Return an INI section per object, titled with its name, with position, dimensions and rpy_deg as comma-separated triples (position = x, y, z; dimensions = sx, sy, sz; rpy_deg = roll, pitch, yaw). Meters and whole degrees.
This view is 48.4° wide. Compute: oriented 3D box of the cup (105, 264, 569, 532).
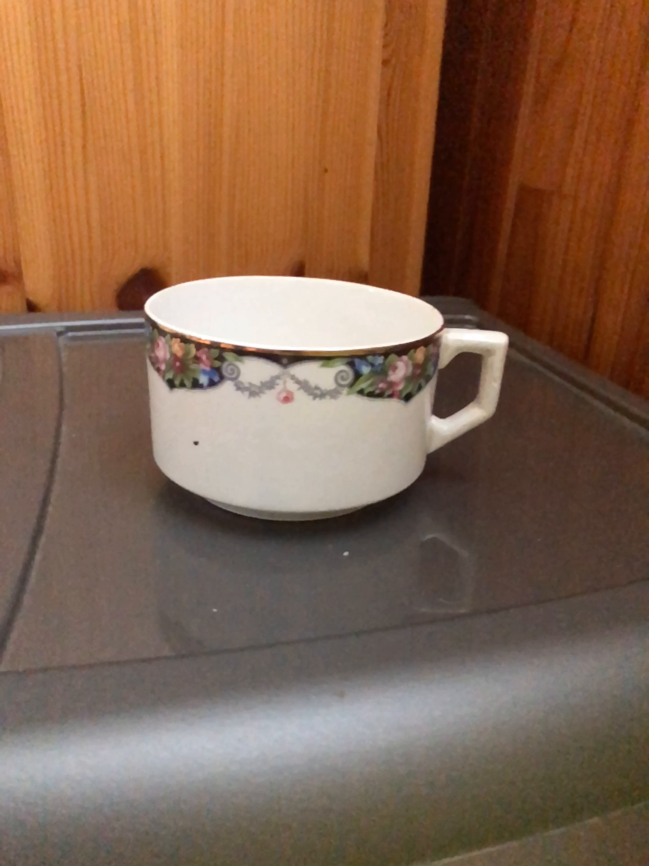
[cup]
position = 0.001, -0.018, 0.259
dimensions = 0.130, 0.060, 0.101
rpy_deg = 2, 23, -4
